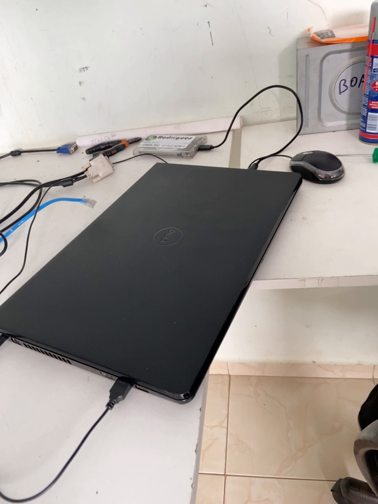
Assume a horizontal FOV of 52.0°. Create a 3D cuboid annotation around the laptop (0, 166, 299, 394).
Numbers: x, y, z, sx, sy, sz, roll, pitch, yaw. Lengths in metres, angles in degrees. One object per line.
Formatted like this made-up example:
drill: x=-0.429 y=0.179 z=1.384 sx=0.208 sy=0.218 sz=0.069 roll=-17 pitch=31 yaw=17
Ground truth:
laptop: x=-0.033 y=-0.019 z=0.503 sx=0.260 sy=0.003 sz=0.378 roll=9 pitch=42 yaw=27
